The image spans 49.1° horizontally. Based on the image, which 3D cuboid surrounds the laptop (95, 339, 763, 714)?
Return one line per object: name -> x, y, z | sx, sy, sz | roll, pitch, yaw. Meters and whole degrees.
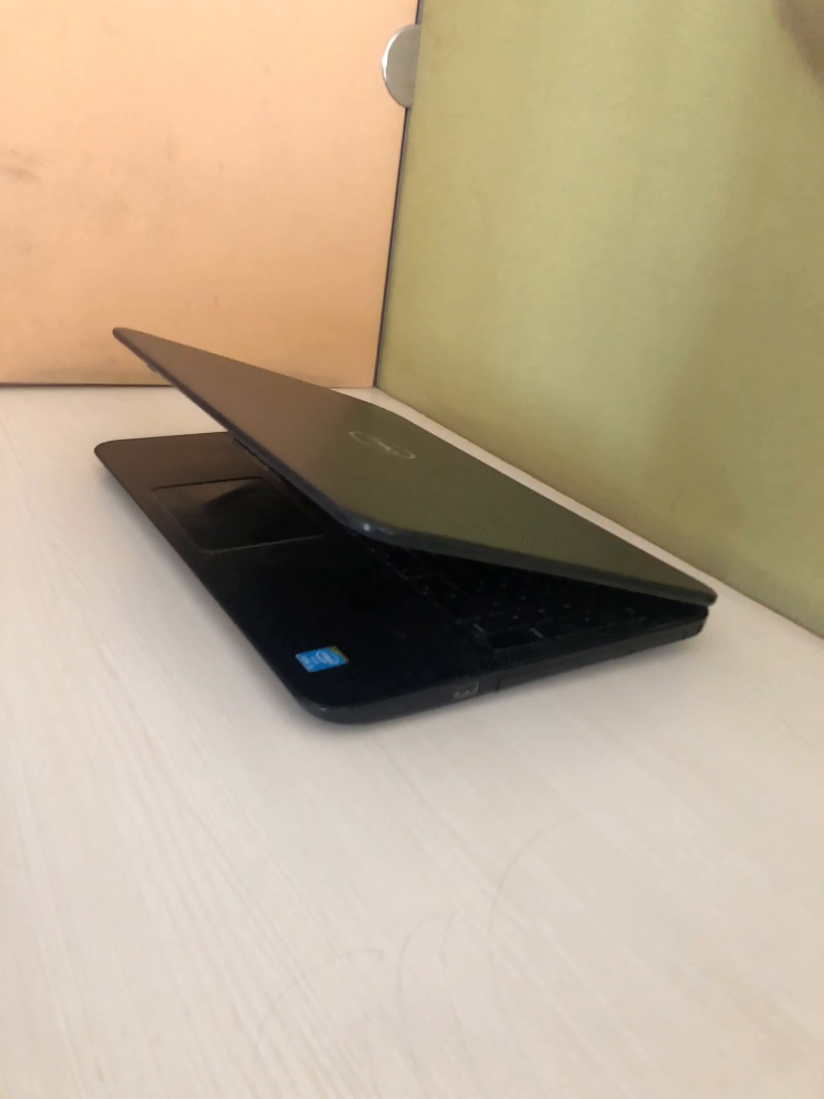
laptop -> -0.021, -0.050, 0.555 | 0.247, 0.078, 0.354 | -7, 27, -32
